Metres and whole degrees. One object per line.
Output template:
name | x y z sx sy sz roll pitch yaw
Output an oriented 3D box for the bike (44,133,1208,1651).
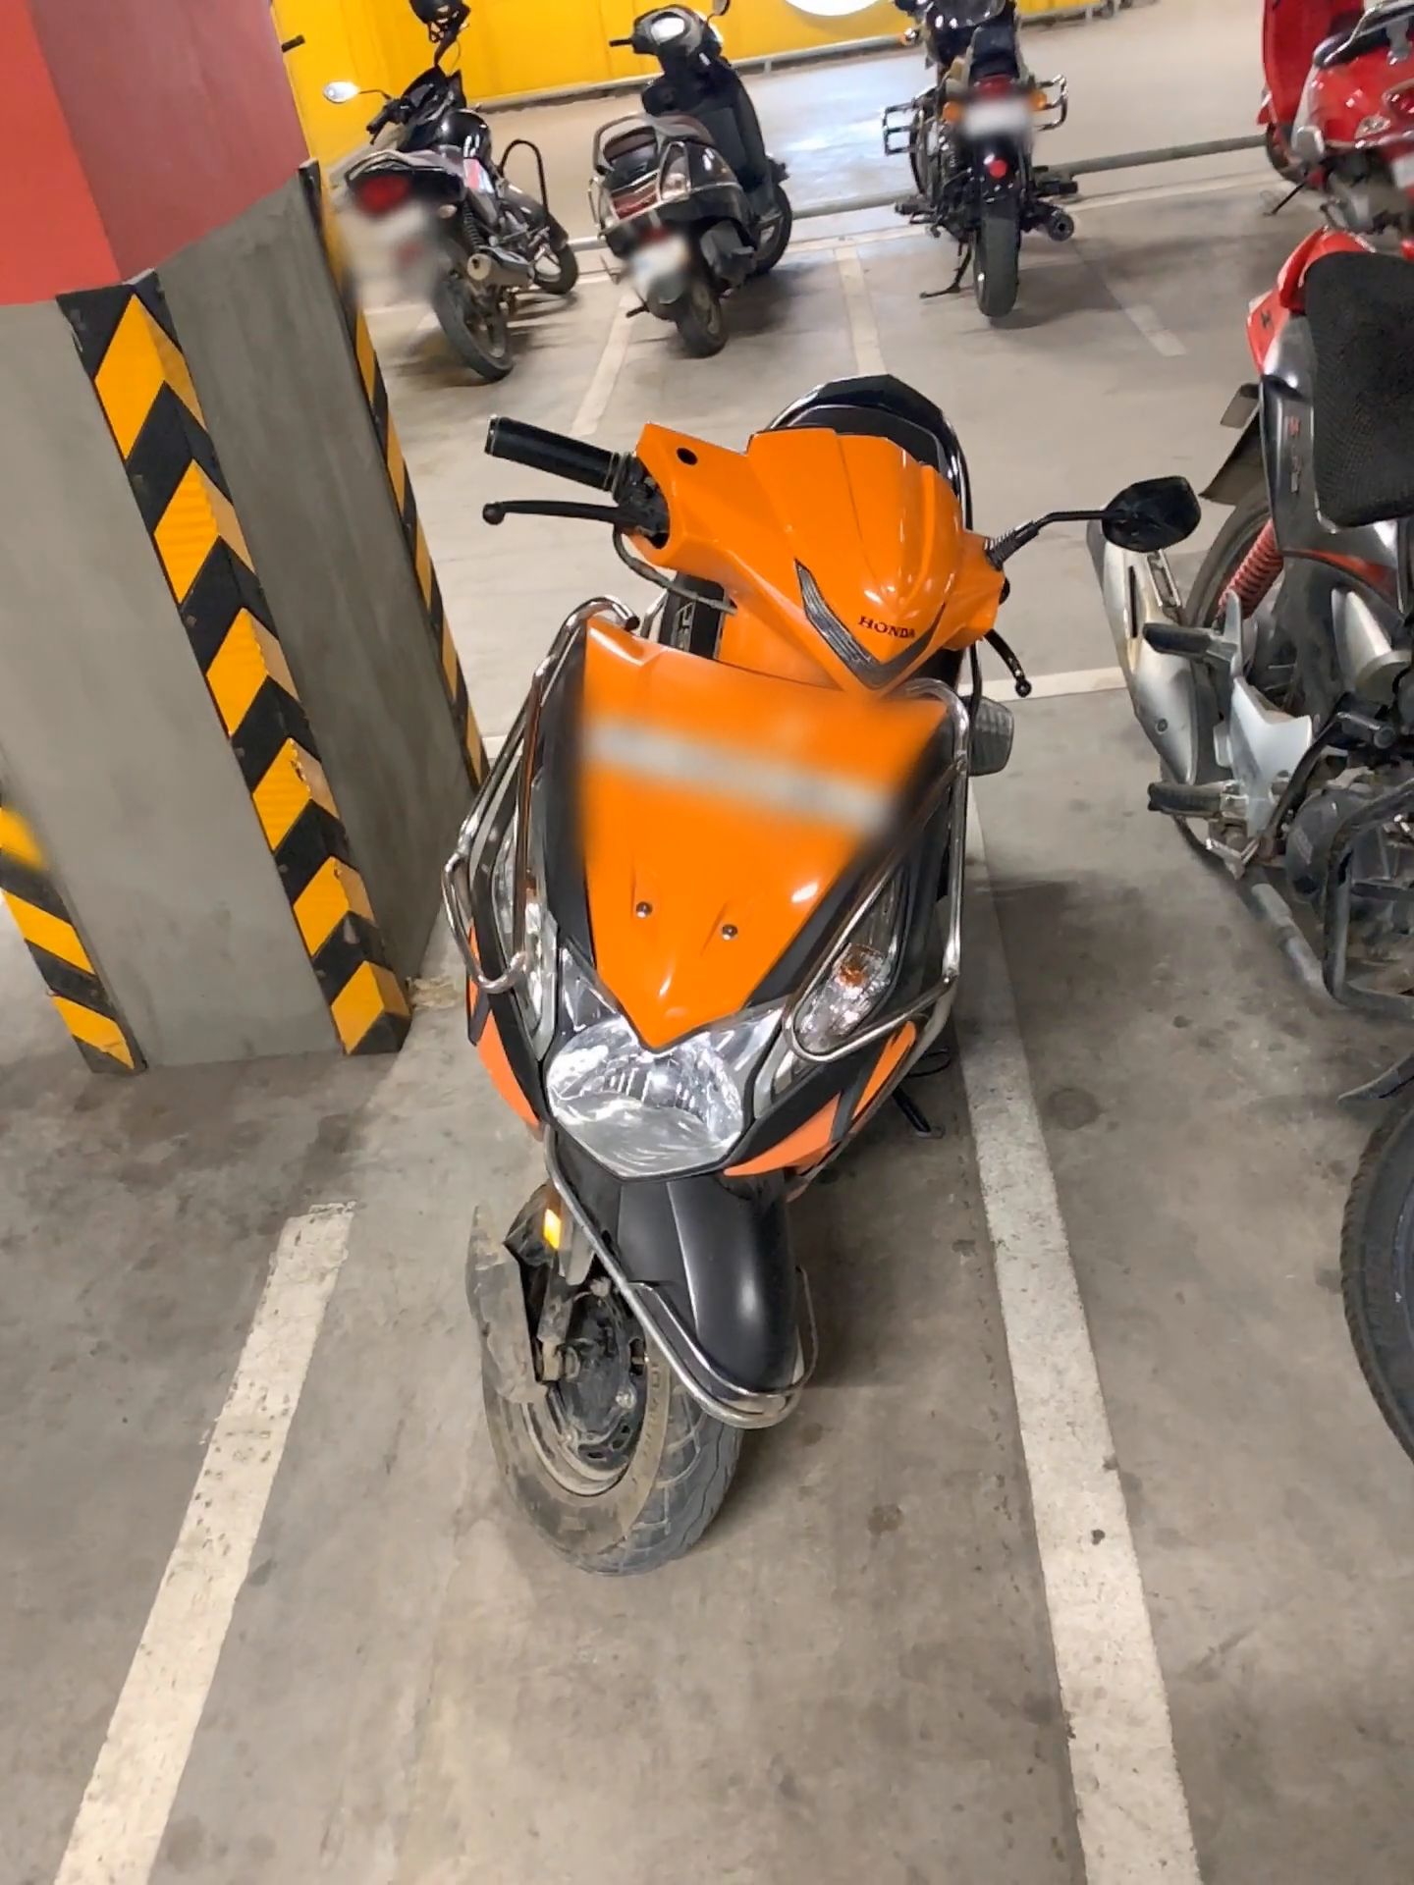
bike | 0.179 -0.198 1.839 0.725 1.173 1.612 0 36 14
